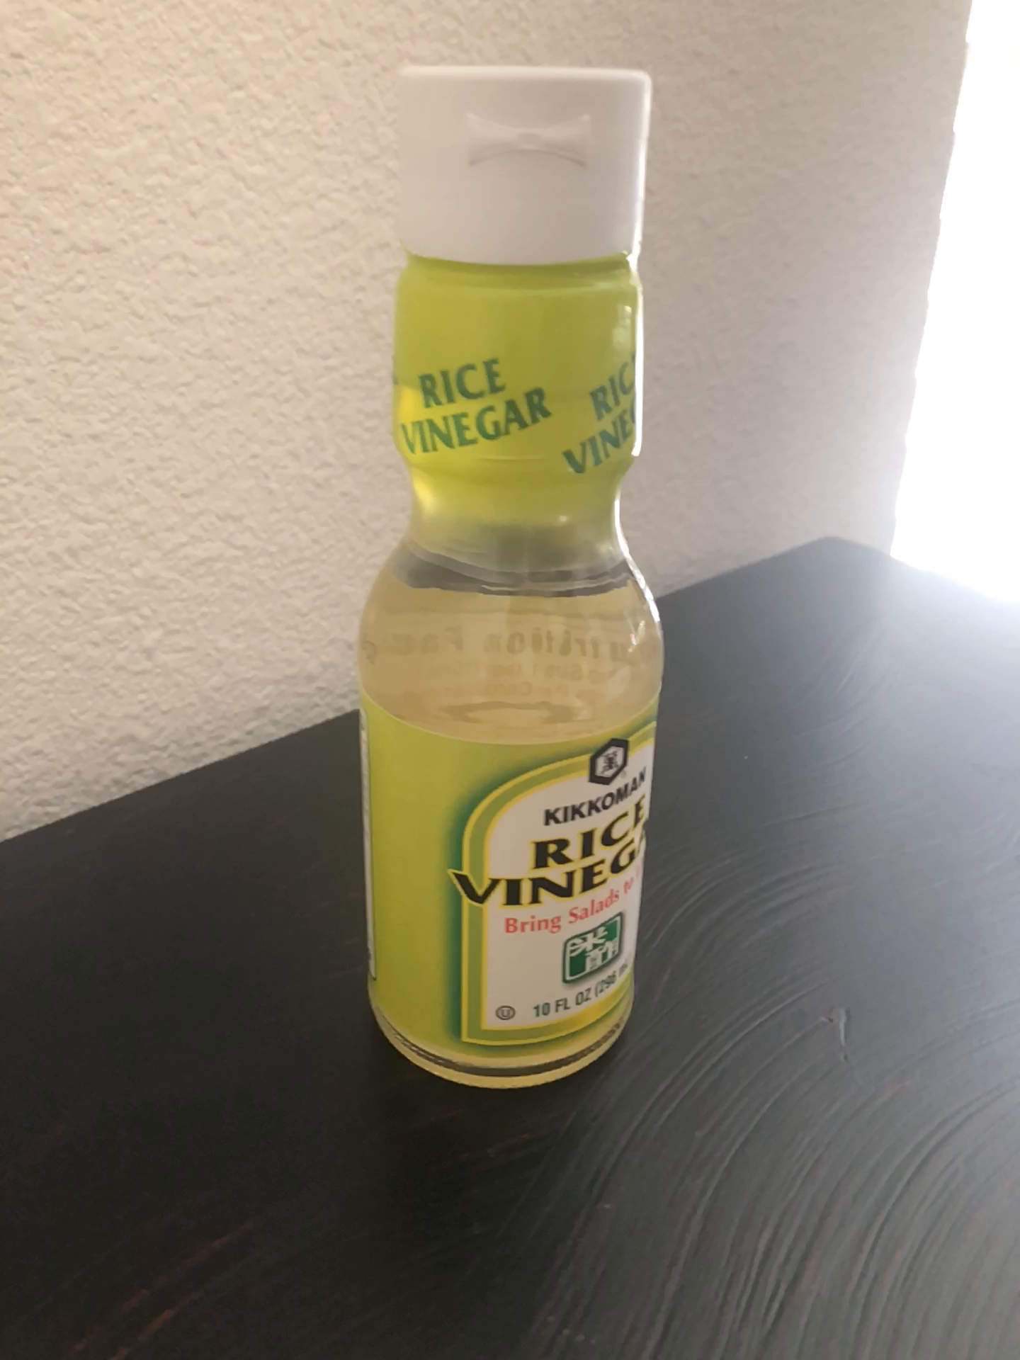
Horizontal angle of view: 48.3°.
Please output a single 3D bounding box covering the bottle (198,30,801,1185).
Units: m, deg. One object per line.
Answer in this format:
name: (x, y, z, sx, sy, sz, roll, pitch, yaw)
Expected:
bottle: (-0.004, -0.011, 0.225, 0.070, 0.199, 0.070, 0, 26, 0)
